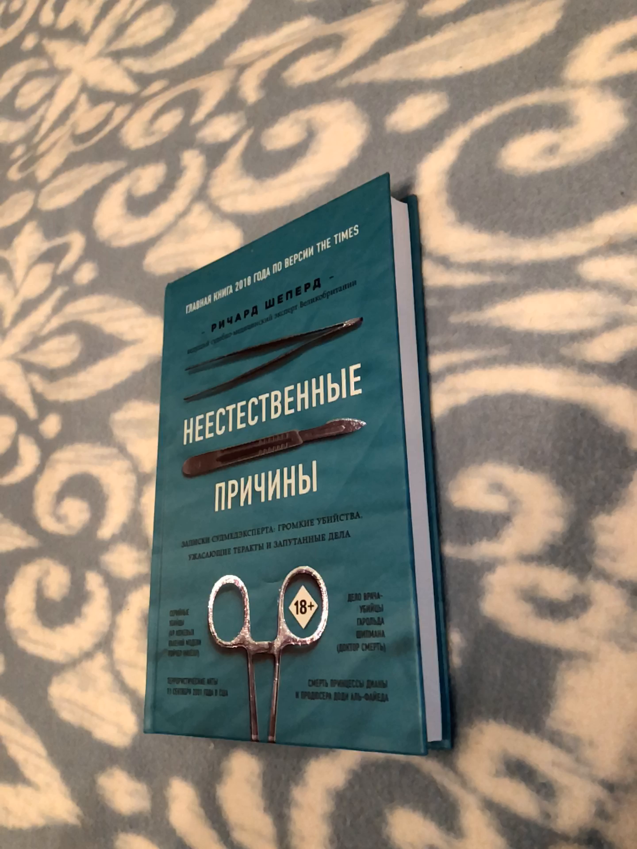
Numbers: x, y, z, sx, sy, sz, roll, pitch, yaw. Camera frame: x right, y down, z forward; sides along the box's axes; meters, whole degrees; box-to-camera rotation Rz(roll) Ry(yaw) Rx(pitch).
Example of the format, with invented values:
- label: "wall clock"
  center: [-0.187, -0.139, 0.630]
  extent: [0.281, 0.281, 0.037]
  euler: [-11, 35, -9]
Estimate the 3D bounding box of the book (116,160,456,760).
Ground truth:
- label: "book"
  center: [-0.023, 0.016, 0.302]
  extent: [0.149, 0.025, 0.218]
  euler: [-15, 68, 36]
